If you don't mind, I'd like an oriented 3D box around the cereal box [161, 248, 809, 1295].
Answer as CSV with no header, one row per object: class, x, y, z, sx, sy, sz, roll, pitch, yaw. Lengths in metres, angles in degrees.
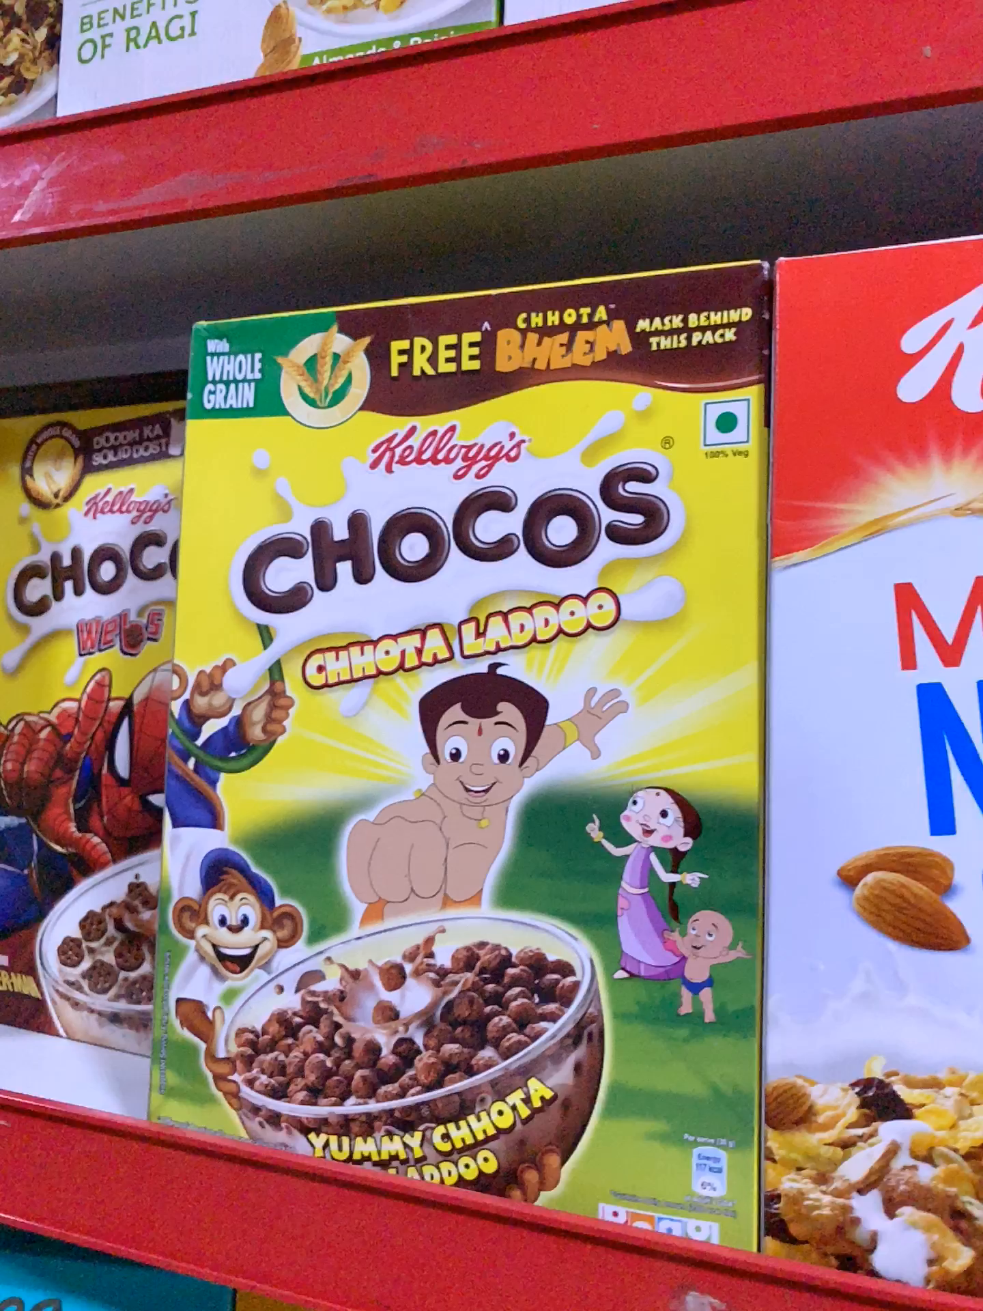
cereal box,0.001,0.025,0.320,0.180,0.260,0.070,1,-4,20
